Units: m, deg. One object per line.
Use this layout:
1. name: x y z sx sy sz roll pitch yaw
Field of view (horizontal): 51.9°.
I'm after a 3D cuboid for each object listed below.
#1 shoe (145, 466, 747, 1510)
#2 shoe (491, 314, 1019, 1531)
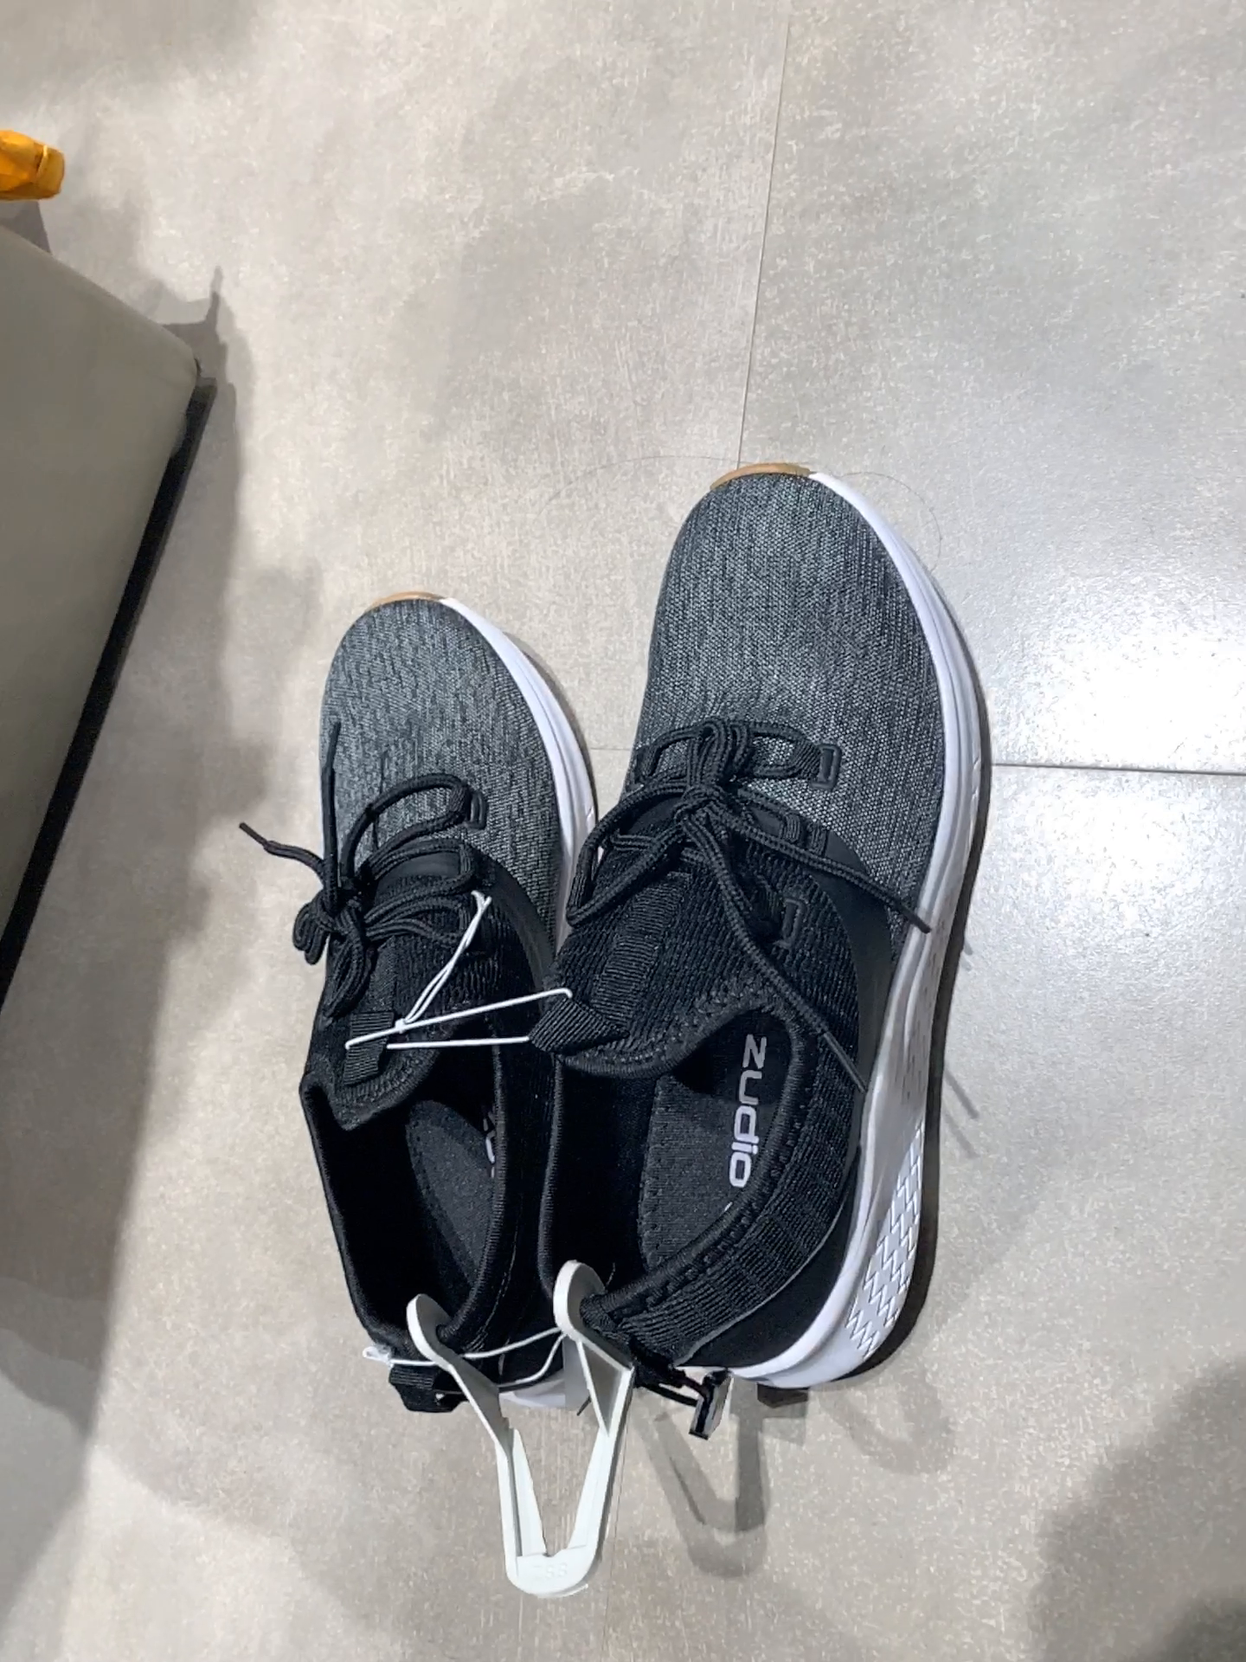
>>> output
1. shoe: -0.060 0.046 0.407 0.106 0.096 0.278 -20 74 24
2. shoe: 0.044 0.020 0.360 0.108 0.096 0.278 0 83 28
